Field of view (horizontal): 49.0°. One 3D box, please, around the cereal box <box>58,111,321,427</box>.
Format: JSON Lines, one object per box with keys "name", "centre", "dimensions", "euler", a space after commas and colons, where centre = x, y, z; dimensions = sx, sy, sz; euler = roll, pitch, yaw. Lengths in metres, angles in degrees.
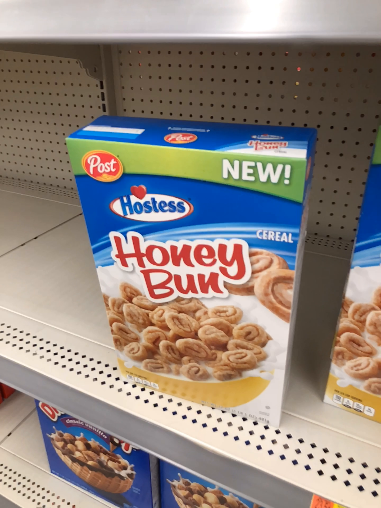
{"name": "cereal box", "centre": [0.006, 0.023, 0.419], "dimensions": [0.200, 0.299, 0.070], "euler": [10, 36, 20]}
